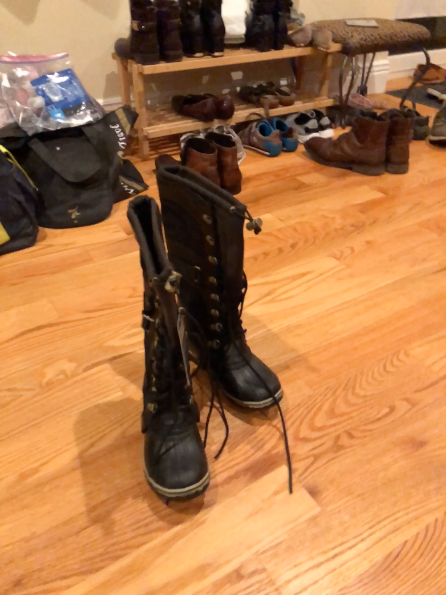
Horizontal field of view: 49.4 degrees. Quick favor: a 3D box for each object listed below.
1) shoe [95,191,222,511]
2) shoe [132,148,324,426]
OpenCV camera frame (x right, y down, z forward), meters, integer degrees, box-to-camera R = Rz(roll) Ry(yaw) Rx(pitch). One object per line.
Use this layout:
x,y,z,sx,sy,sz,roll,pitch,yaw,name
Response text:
-0.086,0.062,0.635,0.100,0.308,0.261,-9,37,-13,shoe
-0.004,-0.018,0.730,0.100,0.328,0.261,-28,45,-34,shoe
